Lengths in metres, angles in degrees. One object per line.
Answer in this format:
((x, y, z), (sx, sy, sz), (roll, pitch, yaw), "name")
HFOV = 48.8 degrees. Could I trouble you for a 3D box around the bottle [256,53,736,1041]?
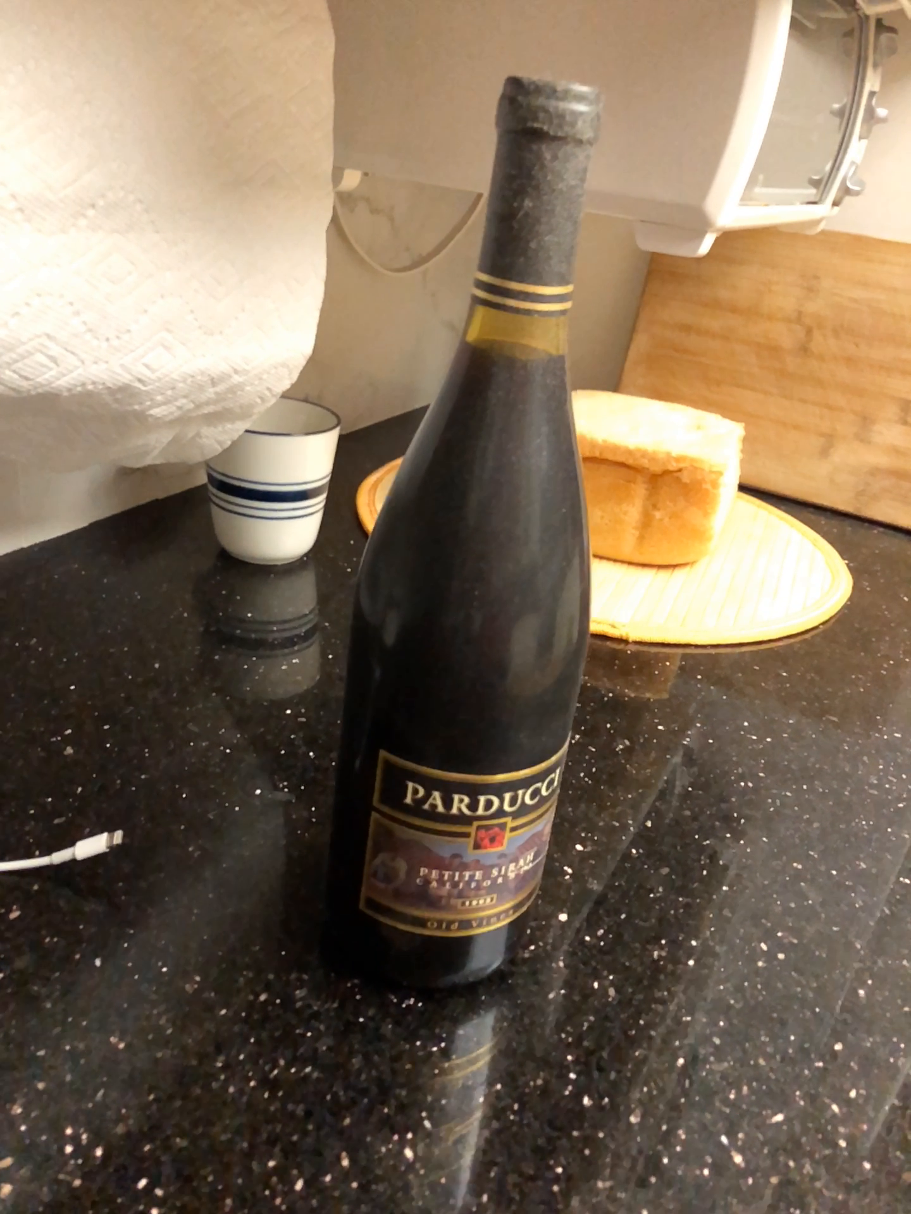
((-0.006, -0.008, 0.334), (0.090, 0.298, 0.090), (7, 25, -3), "bottle")
